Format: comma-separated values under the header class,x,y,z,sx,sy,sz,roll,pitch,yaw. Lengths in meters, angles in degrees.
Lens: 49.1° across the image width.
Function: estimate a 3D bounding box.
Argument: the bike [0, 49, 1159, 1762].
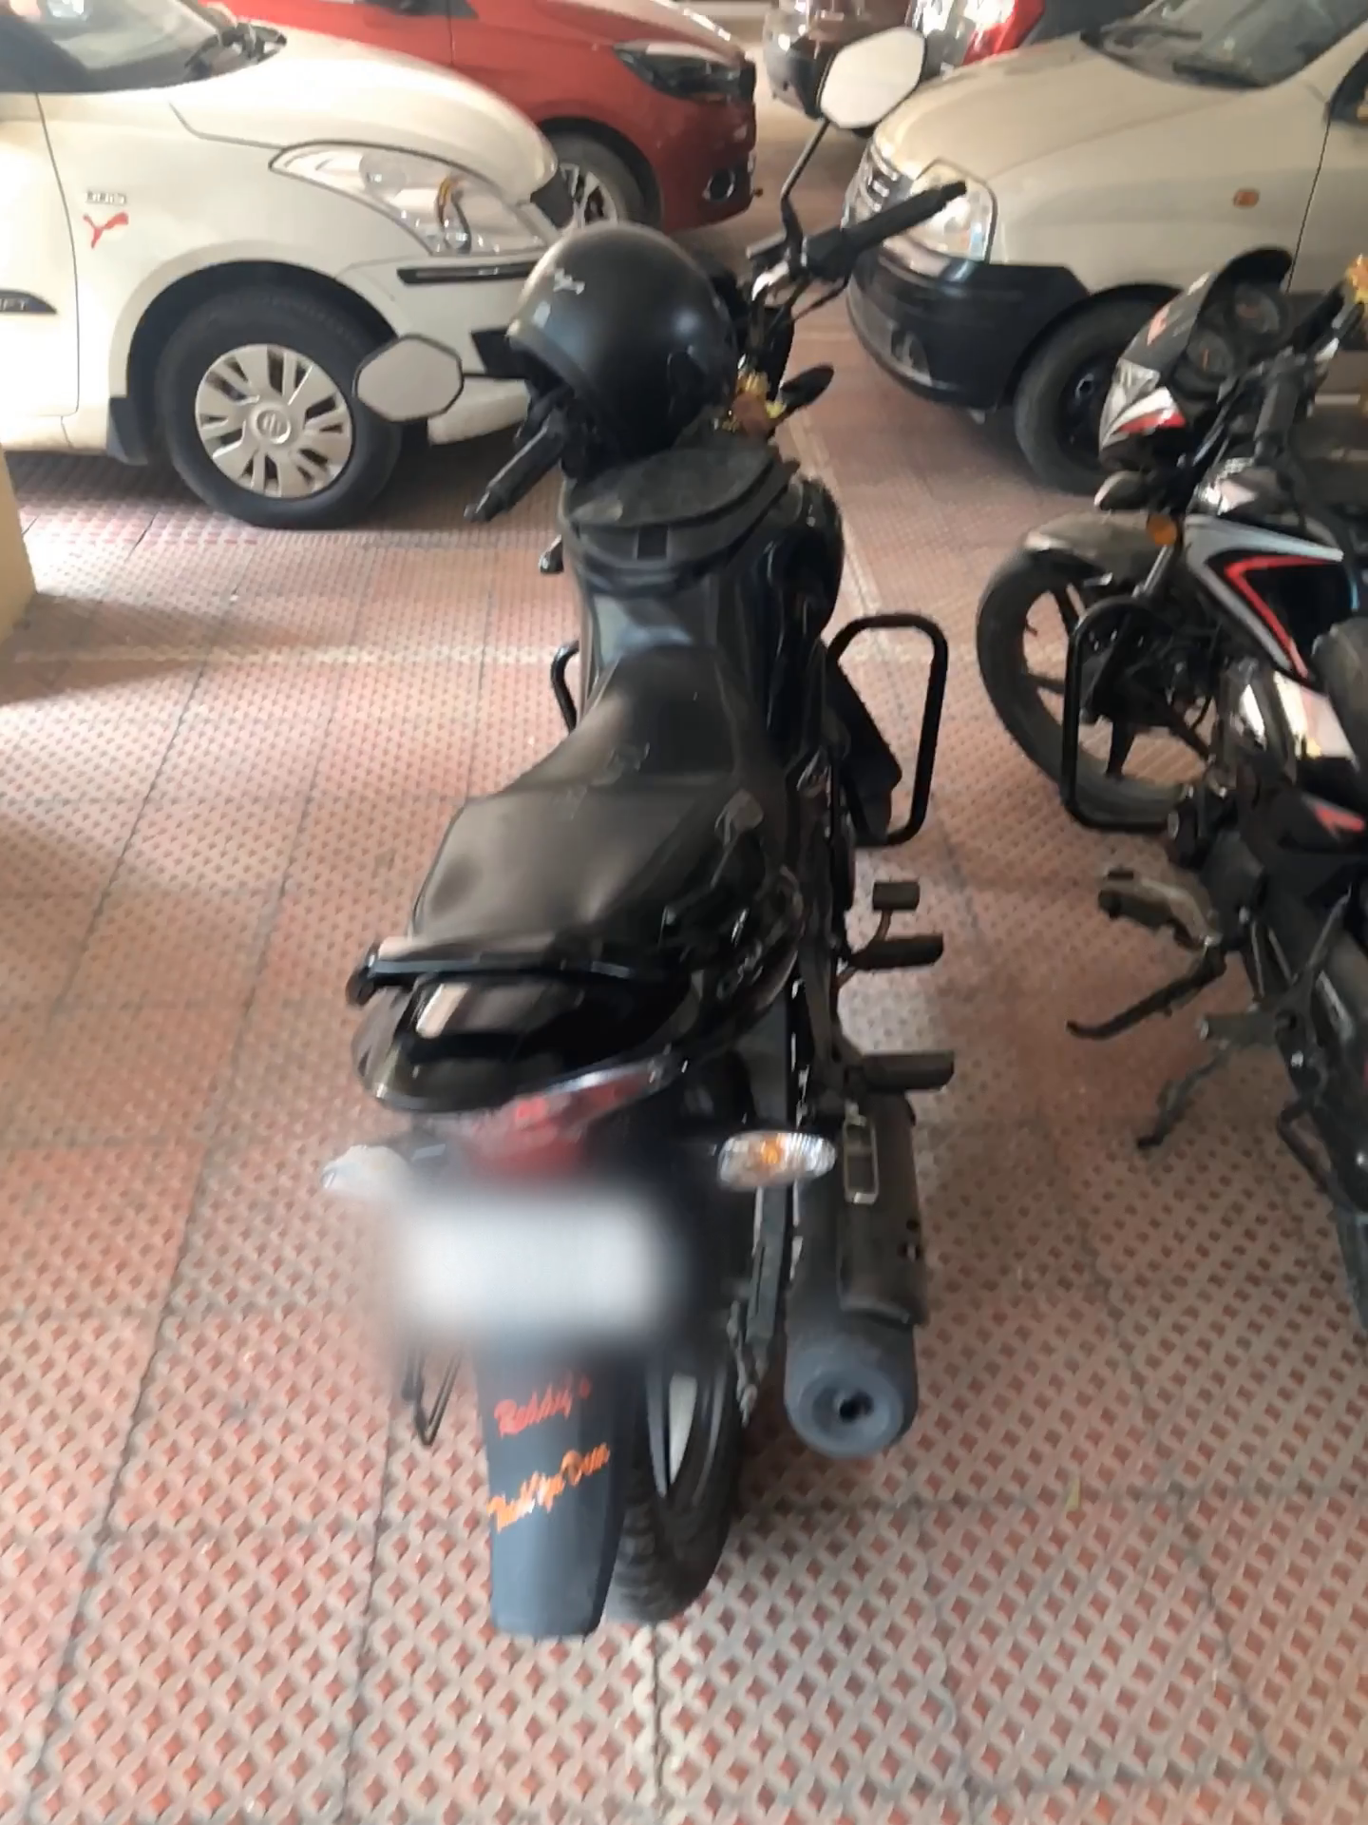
class,x,y,z,sx,sy,sz,roll,pitch,yaw
bike,-0.145,-0.208,1.837,0.804,1.200,1.692,2,38,1
